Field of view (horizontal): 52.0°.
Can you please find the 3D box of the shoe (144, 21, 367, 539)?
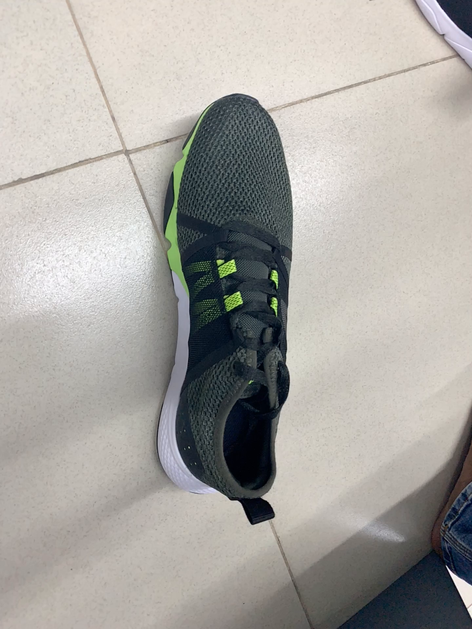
[{"bbox_3d":[0.008,-0.018,0.349,0.110,0.100,0.300,2,92,-25],"label":"shoe"}]
